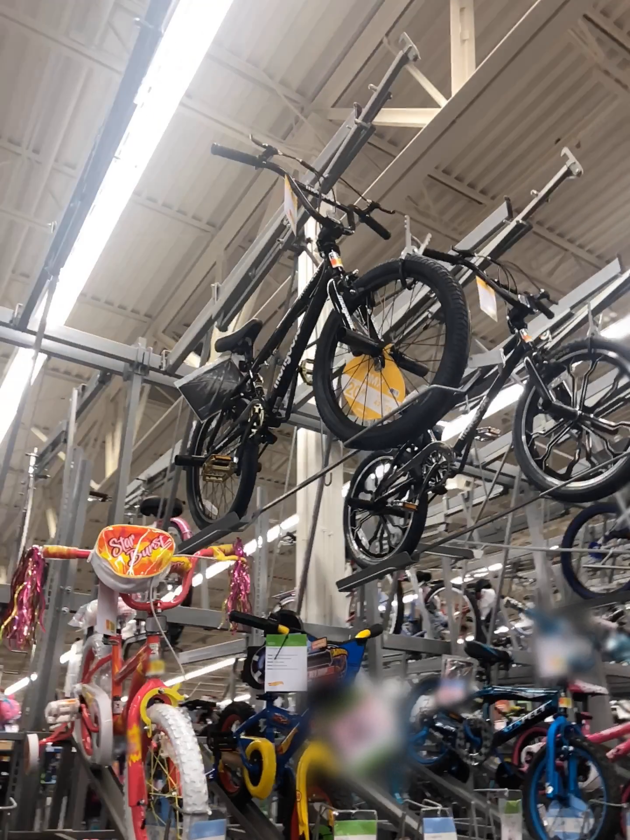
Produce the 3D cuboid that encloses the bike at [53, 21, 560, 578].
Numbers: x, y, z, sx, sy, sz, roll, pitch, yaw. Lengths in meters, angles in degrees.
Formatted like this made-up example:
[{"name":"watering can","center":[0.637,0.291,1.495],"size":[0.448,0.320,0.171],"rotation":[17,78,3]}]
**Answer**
[{"name":"bike","center":[-0.139,-0.181,2.088],"size":[0.753,0.909,1.347],"rotation":[17,-33,-29]}]
